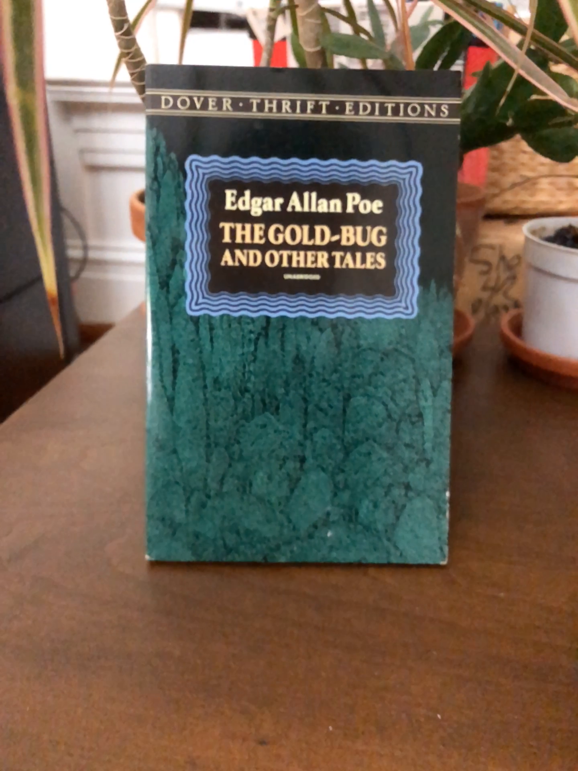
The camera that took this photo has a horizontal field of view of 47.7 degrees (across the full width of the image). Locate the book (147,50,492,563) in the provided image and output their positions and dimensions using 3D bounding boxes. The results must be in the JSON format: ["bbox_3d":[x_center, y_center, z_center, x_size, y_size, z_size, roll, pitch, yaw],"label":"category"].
[{"bbox_3d":[0.011,-0.031,0.281,0.140,0.210,0.020,1,3,-1],"label":"book"}]
